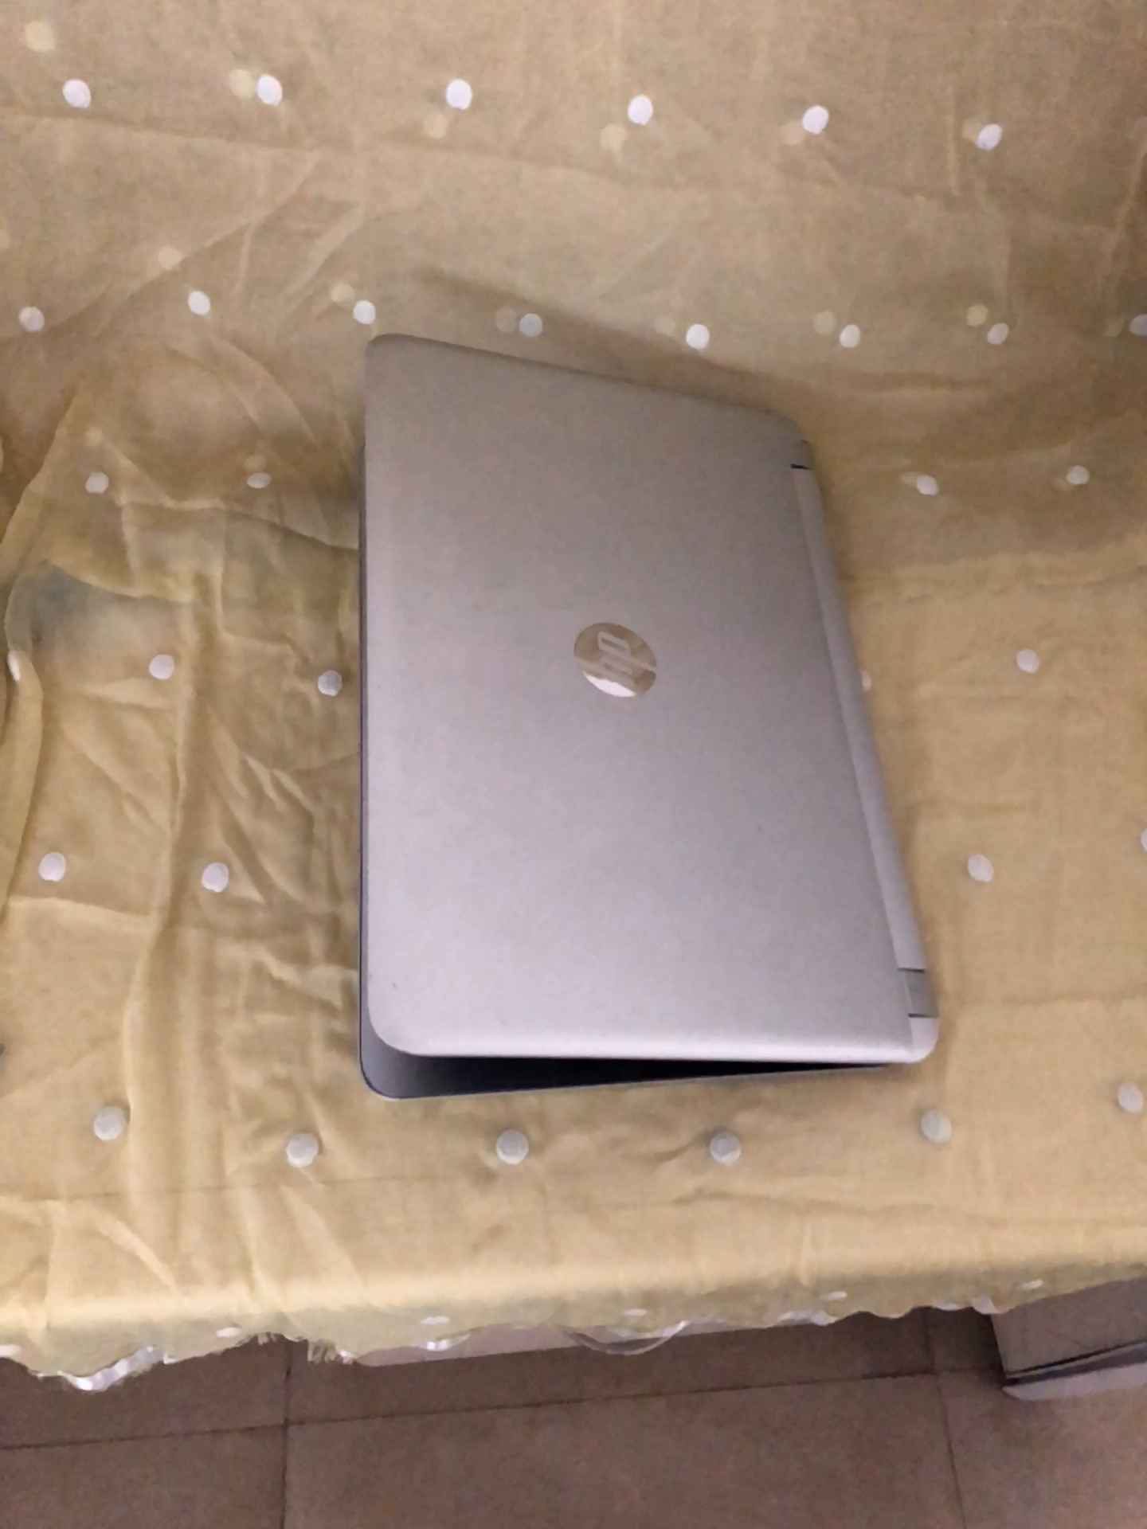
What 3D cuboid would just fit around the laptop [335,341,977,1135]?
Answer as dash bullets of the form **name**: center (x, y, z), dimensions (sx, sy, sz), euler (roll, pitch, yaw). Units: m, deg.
- **laptop**: center (0.017, -0.033, 0.591), dimensions (0.243, 0.077, 0.366), euler (-2, 62, -6)
